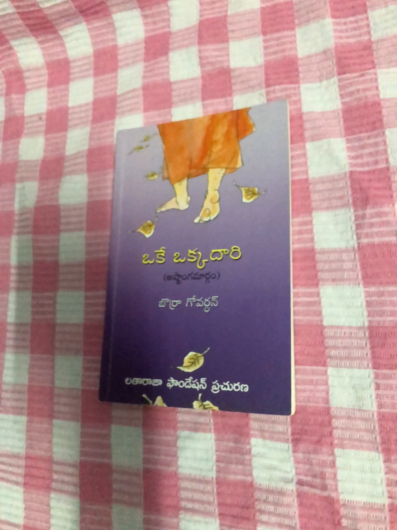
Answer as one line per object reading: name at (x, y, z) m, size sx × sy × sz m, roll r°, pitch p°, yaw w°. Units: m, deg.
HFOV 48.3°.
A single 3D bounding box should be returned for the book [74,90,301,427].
book at (-0.007, -0.007, 0.305) m, size 0.150 × 0.020 × 0.210 m, roll -2°, pitch 78°, yaw 21°
